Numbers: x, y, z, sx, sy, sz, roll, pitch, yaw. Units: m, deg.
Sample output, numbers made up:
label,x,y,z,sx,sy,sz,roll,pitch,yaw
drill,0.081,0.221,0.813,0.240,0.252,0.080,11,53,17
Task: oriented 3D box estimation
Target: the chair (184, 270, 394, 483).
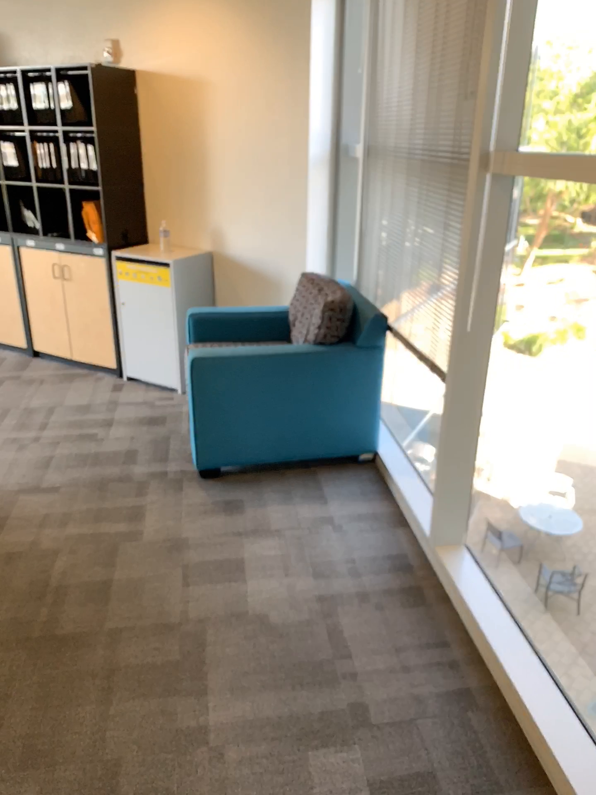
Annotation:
label,x,y,z,sx,sy,sz,roll,pitch,yaw
chair,-0.102,-0.168,3.248,0.920,0.826,0.915,-2,22,-8
